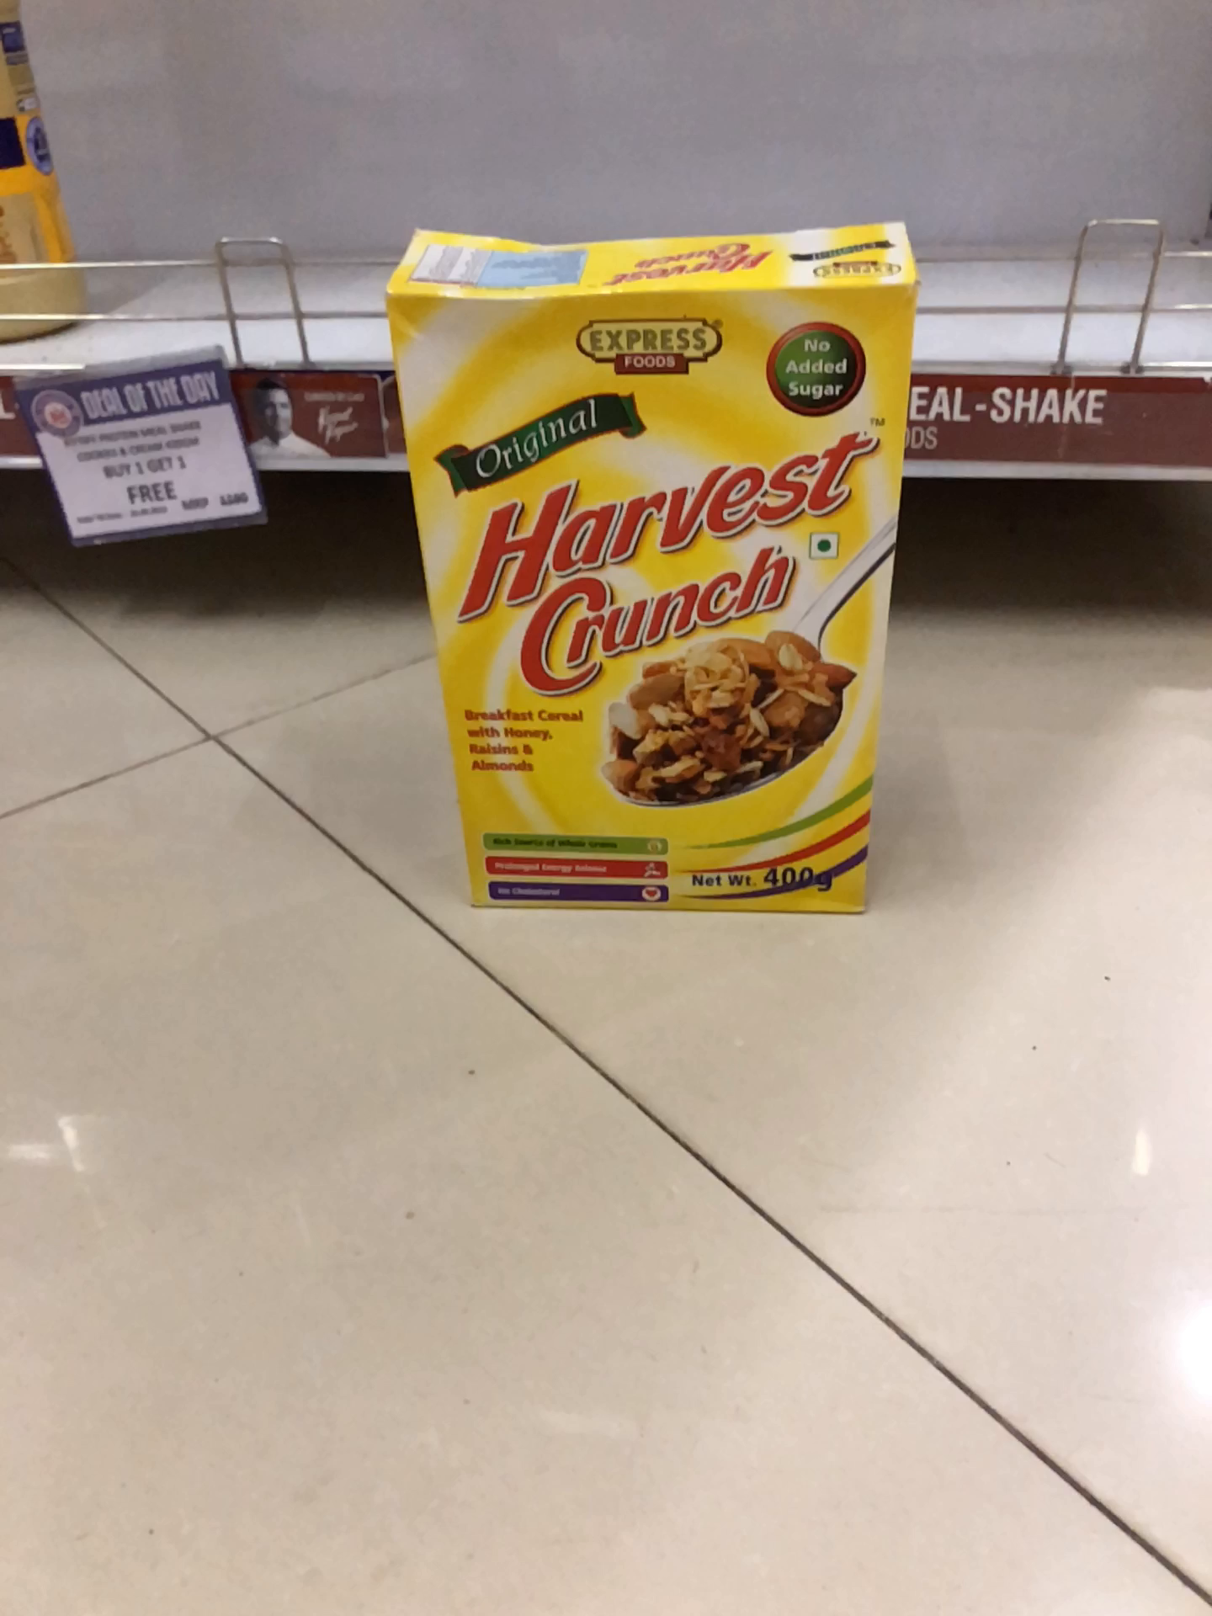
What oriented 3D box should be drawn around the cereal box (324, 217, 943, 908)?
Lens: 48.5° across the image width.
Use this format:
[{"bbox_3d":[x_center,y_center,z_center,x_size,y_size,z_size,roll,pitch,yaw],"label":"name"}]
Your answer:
[{"bbox_3d":[0.011,-0.068,0.424,0.160,0.209,0.050,0,33,3],"label":"cereal box"}]
